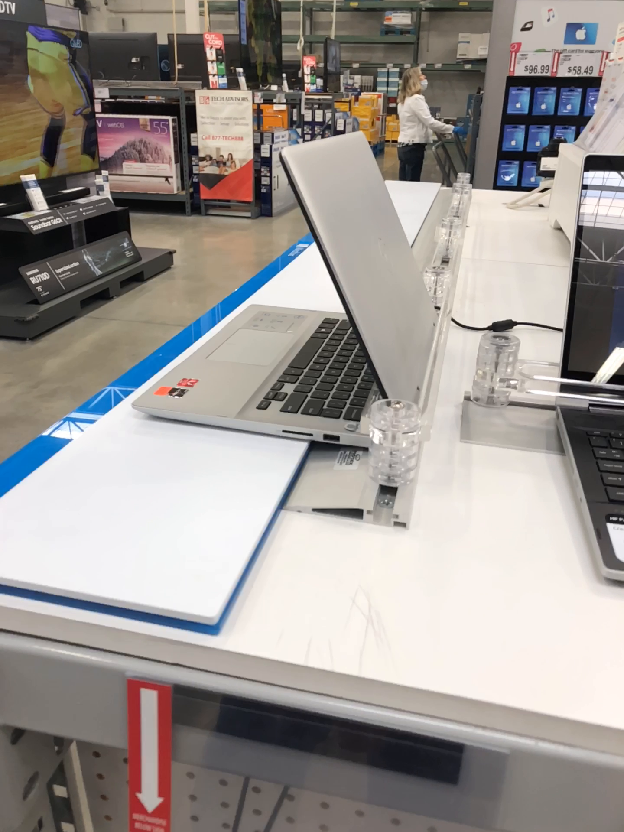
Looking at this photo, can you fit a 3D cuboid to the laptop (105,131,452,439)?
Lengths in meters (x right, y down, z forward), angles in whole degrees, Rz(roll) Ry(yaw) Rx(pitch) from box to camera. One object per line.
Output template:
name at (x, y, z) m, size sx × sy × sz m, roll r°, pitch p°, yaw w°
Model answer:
laptop at (-0.001, -0.151, 0.638) m, size 0.222 × 0.199 × 0.320 m, roll 7°, pitch 25°, yaw 12°
